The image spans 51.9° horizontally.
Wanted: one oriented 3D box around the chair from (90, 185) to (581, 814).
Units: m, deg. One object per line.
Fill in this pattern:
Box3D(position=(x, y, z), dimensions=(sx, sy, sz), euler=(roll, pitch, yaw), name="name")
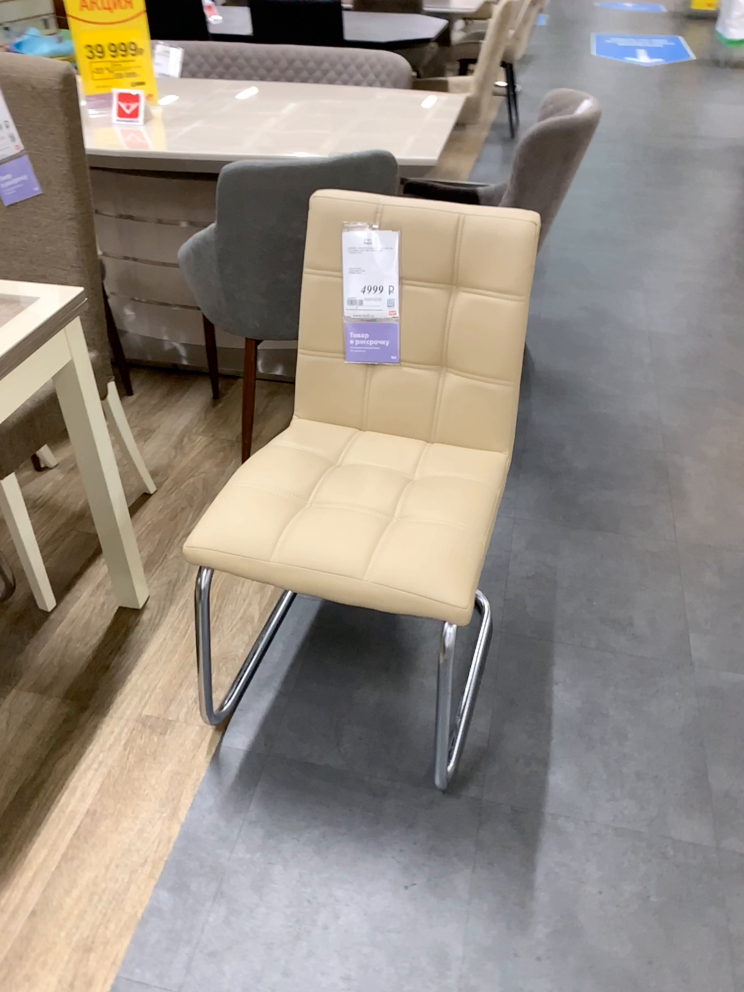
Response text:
Box3D(position=(0.008, -0.022, 1.365), dimensions=(0.530, 0.815, 0.654), euler=(10, 38, 14), name="chair")
